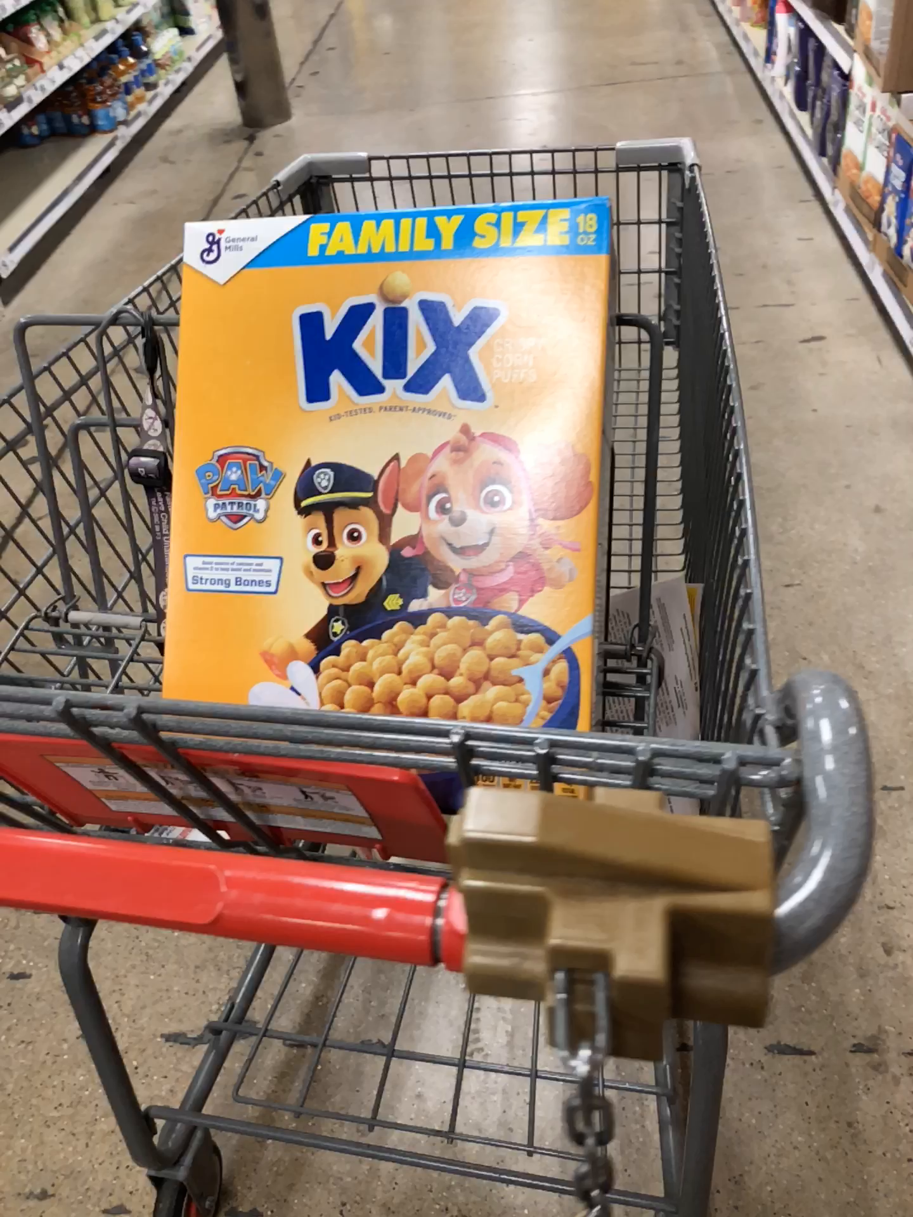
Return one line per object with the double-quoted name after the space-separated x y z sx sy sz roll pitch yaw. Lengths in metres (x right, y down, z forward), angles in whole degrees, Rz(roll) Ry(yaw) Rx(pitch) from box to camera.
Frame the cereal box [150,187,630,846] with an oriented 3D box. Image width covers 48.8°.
-0.037 -0.051 0.584 0.250 0.330 0.090 2 1 17 "cereal box"
